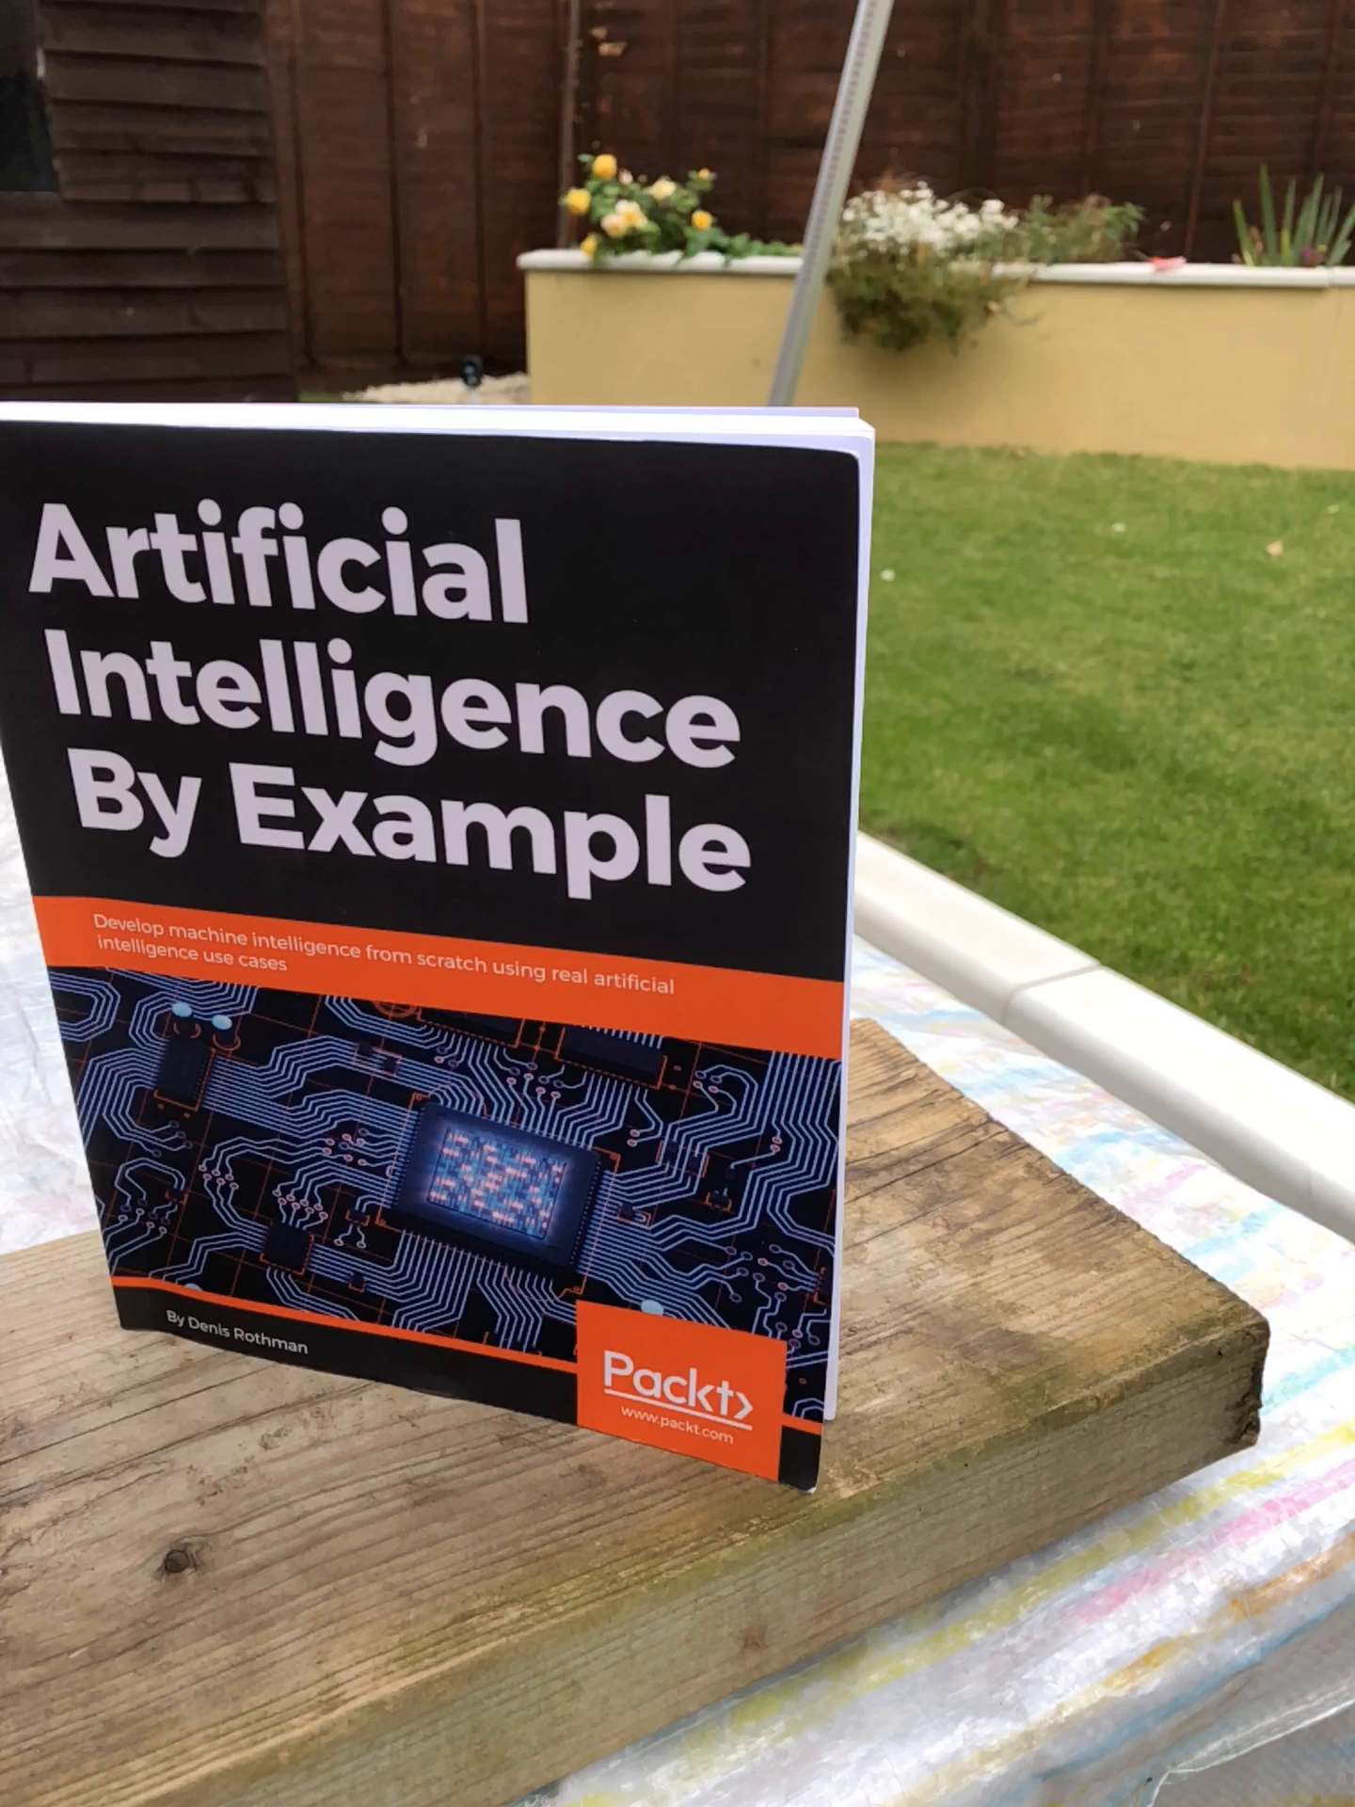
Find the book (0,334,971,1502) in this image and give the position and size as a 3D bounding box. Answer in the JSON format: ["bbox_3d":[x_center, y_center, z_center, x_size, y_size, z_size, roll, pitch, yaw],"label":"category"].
[{"bbox_3d":[-0.053,0.003,0.336,0.210,0.238,0.040,7,23,15],"label":"book"}]
